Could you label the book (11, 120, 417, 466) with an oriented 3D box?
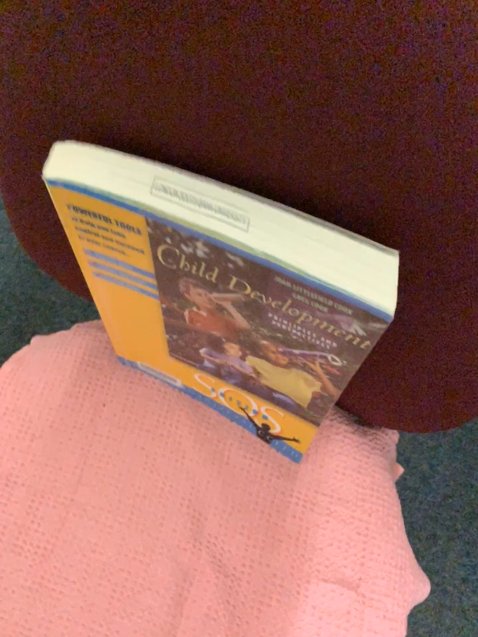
[{"bbox_3d":[-0.025,0.008,0.382,0.225,0.258,0.050,24,60,10],"label":"book"}]
